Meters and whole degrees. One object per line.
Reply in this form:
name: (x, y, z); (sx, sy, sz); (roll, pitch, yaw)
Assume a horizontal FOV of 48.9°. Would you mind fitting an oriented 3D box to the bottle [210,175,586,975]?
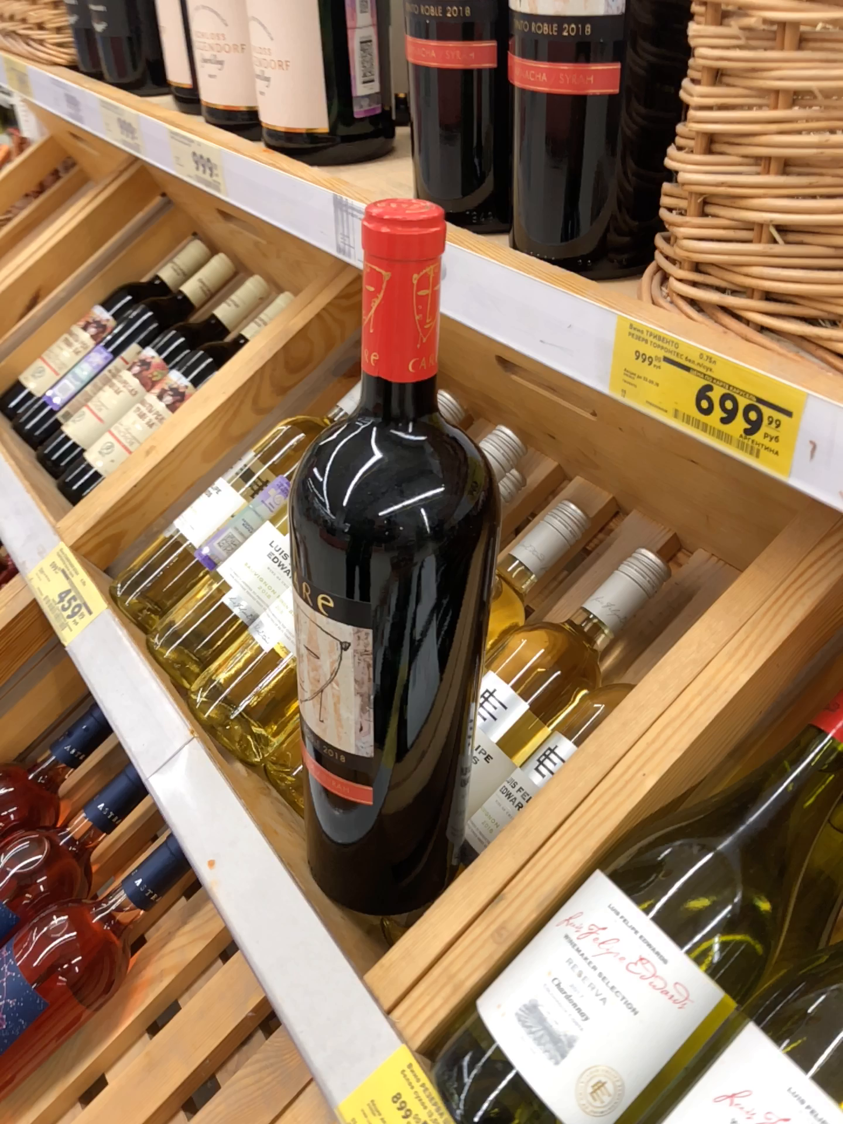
bottle: (-0.019, 0.023, 0.433); (0.100, 0.358, 0.100); (2, 33, -1)
